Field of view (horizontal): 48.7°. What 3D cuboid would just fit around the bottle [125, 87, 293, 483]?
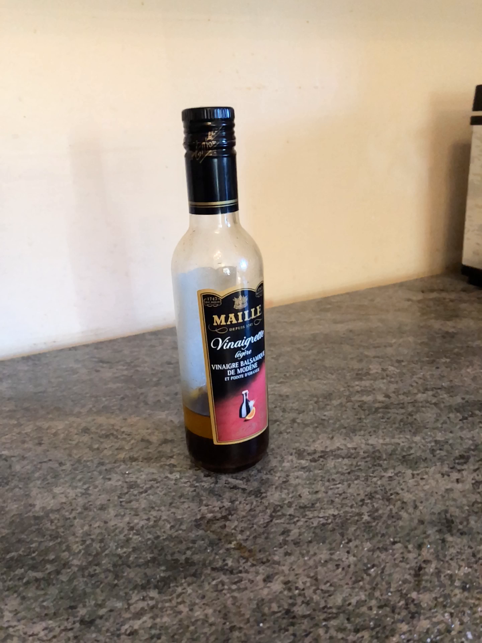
[{"bbox_3d":[-0.017,-0.023,0.343,0.070,0.229,0.070,-3,19,1],"label":"bottle"}]
